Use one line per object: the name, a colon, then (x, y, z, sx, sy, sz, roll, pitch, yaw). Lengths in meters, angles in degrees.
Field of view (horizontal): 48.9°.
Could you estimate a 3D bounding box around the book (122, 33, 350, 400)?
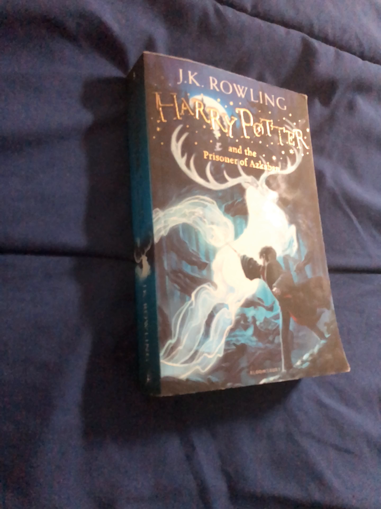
book: (0.028, -0.021, 0.273, 0.134, 0.045, 0.200, 3, 79, -28)
